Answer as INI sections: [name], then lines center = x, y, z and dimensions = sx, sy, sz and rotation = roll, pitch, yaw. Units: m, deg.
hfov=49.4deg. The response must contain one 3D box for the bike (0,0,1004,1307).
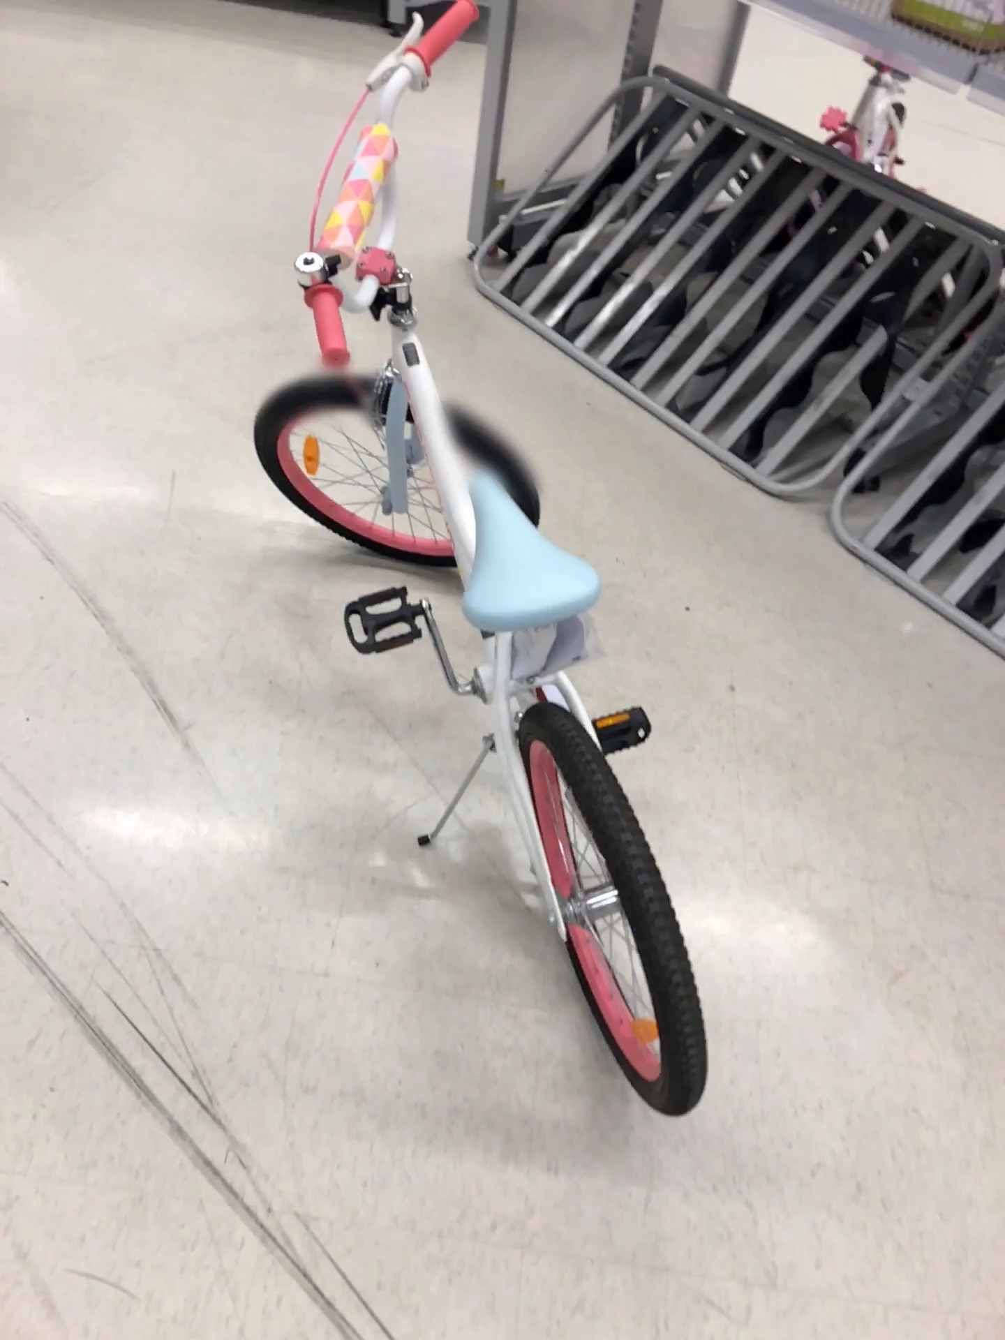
[bike]
center = -0.096, -0.106, 1.346
dimensions = 0.633, 0.961, 1.256
rotation = -16, 50, -23
